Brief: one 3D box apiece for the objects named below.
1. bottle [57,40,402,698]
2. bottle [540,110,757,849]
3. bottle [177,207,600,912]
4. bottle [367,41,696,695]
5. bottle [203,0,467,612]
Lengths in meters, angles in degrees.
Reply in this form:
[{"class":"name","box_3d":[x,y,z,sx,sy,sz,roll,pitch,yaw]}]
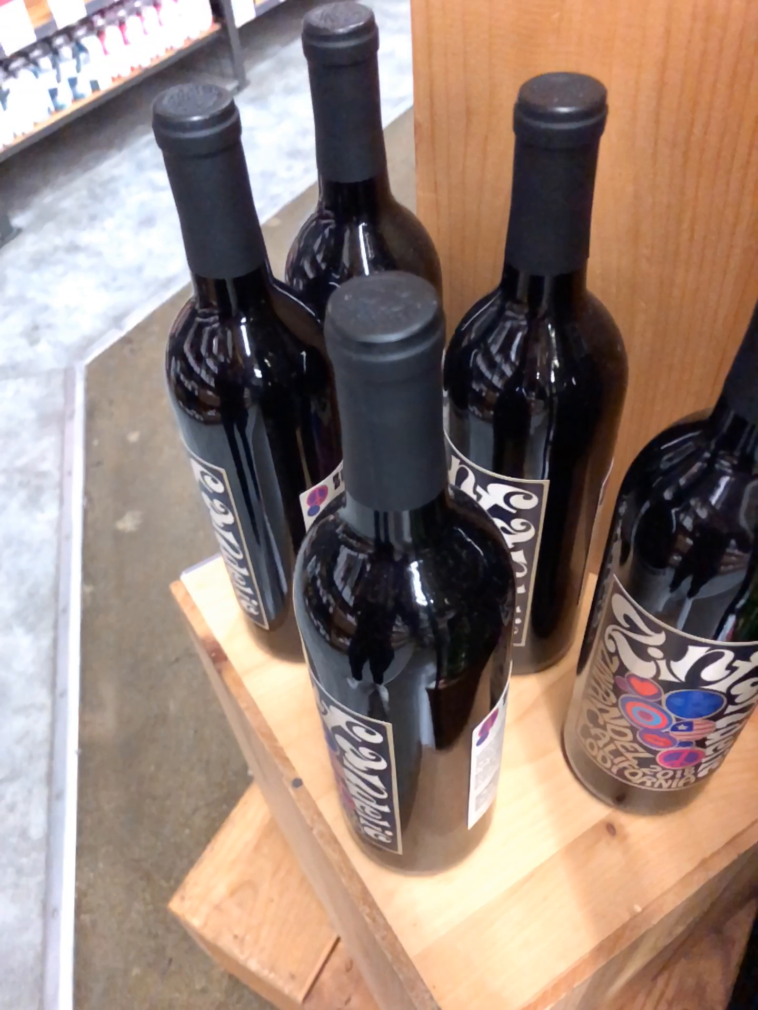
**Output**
[{"class":"bottle","box_3d":[-0.049,-0.032,0.392,0.077,0.304,0.080,-2,49,3]},{"class":"bottle","box_3d":[0.123,0.027,0.320,0.080,0.310,0.077,-2,49,3]},{"class":"bottle","box_3d":[0.008,0.052,0.299,0.070,0.287,0.073,-2,49,3]},{"class":"bottle","box_3d":[0.056,-0.031,0.355,0.080,0.275,0.077,-2,49,3]},{"class":"bottle","box_3d":[-0.007,-0.065,0.385,0.080,0.281,0.077,-2,49,3]}]
